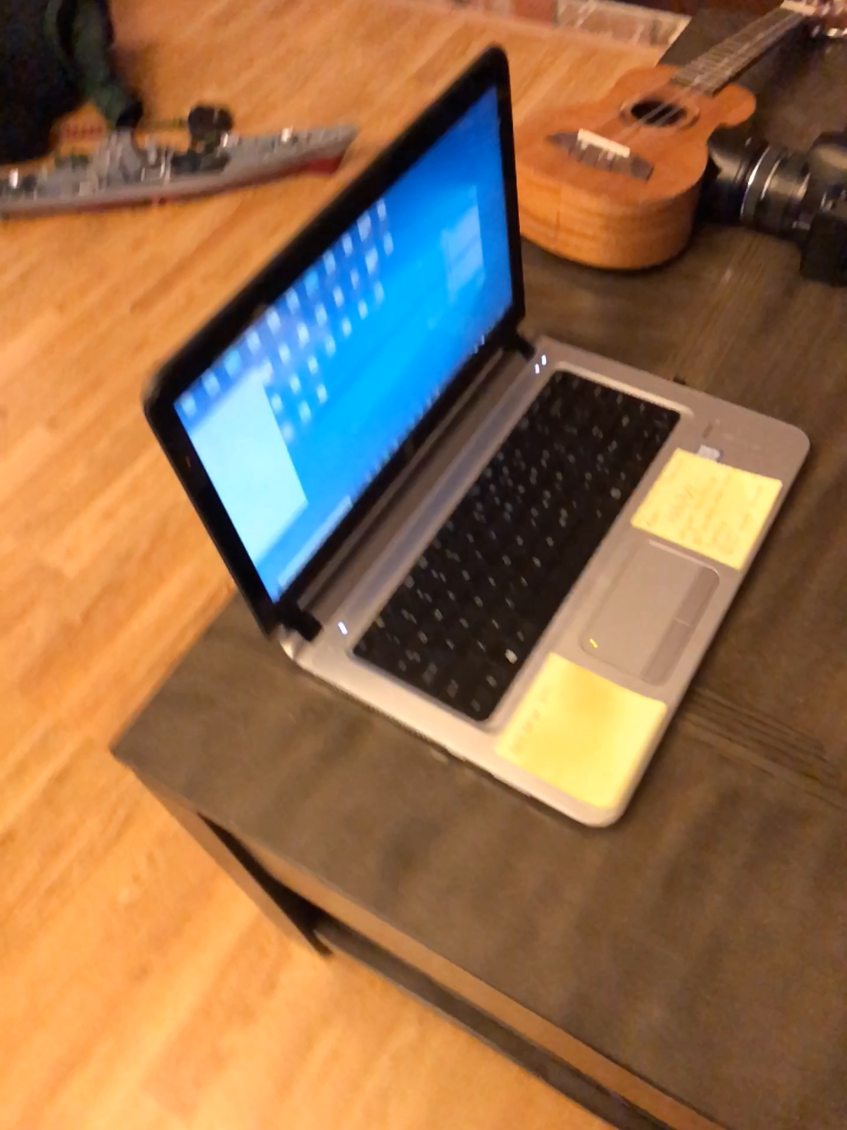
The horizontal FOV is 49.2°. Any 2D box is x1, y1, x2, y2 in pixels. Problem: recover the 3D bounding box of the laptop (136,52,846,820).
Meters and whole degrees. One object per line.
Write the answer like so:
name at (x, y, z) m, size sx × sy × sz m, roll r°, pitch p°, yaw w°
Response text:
laptop at (0.068, -0.084, 0.537) m, size 0.247 × 0.217 × 0.318 m, roll 25°, pitch 62°, yaw 20°
